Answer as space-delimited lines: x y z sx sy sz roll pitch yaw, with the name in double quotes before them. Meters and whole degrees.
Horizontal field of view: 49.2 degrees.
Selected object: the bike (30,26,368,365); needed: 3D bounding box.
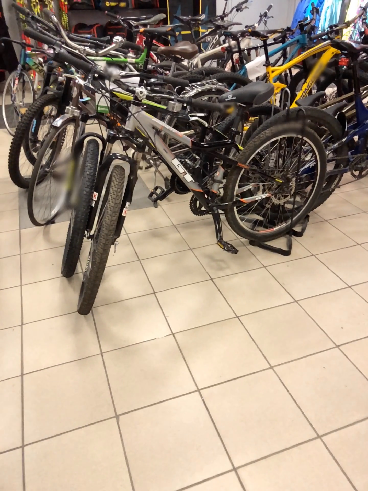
"bike" 0.216 -0.372 1.773 1.428 1.012 0.626 -22 37 -35
